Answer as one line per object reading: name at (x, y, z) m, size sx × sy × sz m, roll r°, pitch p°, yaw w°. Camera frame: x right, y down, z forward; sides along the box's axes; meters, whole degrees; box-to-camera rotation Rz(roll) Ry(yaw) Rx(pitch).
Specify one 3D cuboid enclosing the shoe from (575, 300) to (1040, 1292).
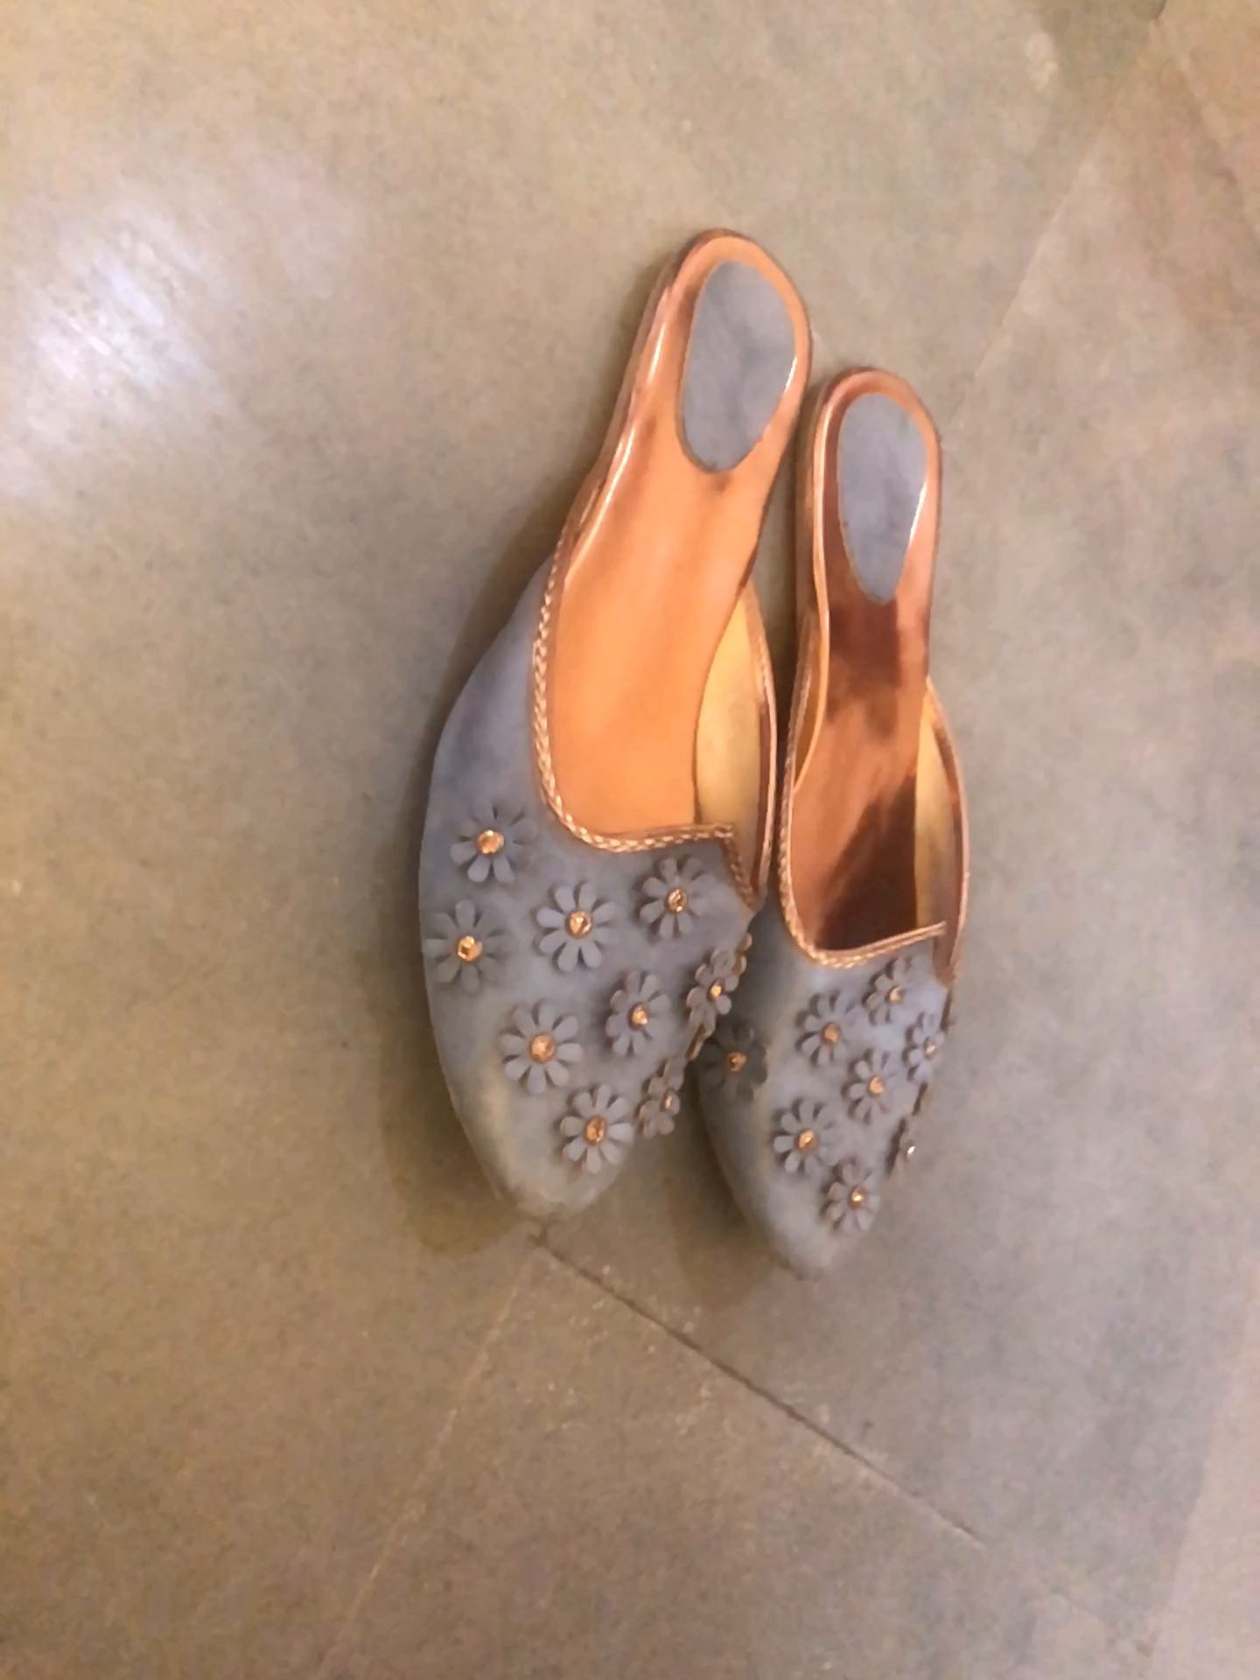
shoe at (0.059, -0.008, 0.423) m, size 0.101 × 0.050 × 0.270 m, roll 17°, pitch 78°, yaw -39°

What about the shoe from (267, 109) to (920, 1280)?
shoe at (0.000, -0.035, 0.364) m, size 0.101 × 0.050 × 0.270 m, roll 24°, pitch 74°, yaw -38°
